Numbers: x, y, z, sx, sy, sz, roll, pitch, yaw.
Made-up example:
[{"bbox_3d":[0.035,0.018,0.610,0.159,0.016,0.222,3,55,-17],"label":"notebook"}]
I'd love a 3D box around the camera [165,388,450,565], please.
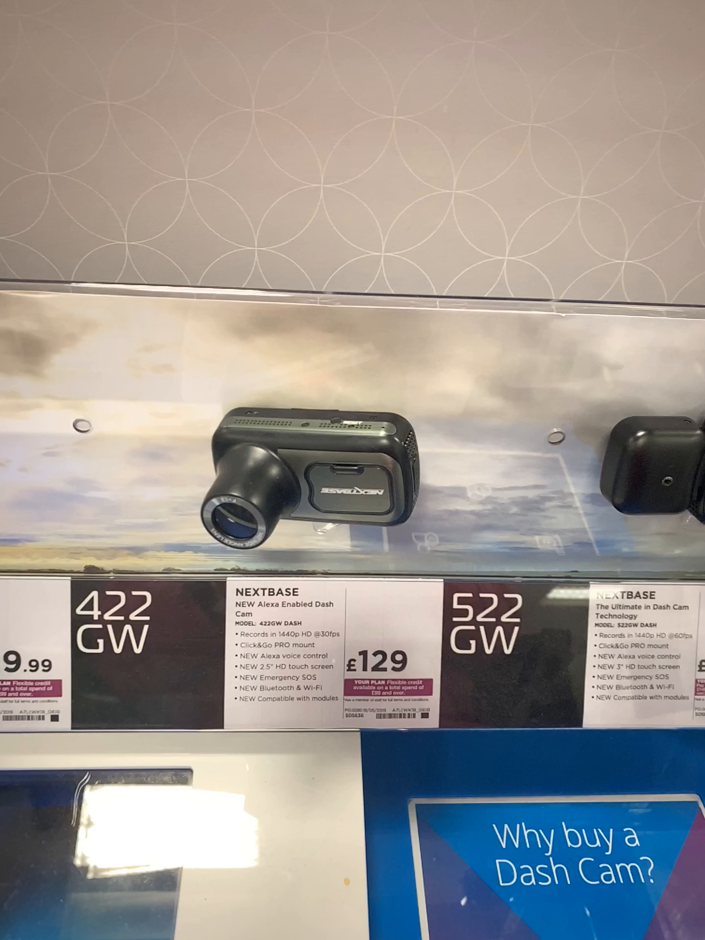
[{"bbox_3d":[-0.013,0.000,0.270,0.090,0.040,0.050,3,34,16],"label":"camera"}]
